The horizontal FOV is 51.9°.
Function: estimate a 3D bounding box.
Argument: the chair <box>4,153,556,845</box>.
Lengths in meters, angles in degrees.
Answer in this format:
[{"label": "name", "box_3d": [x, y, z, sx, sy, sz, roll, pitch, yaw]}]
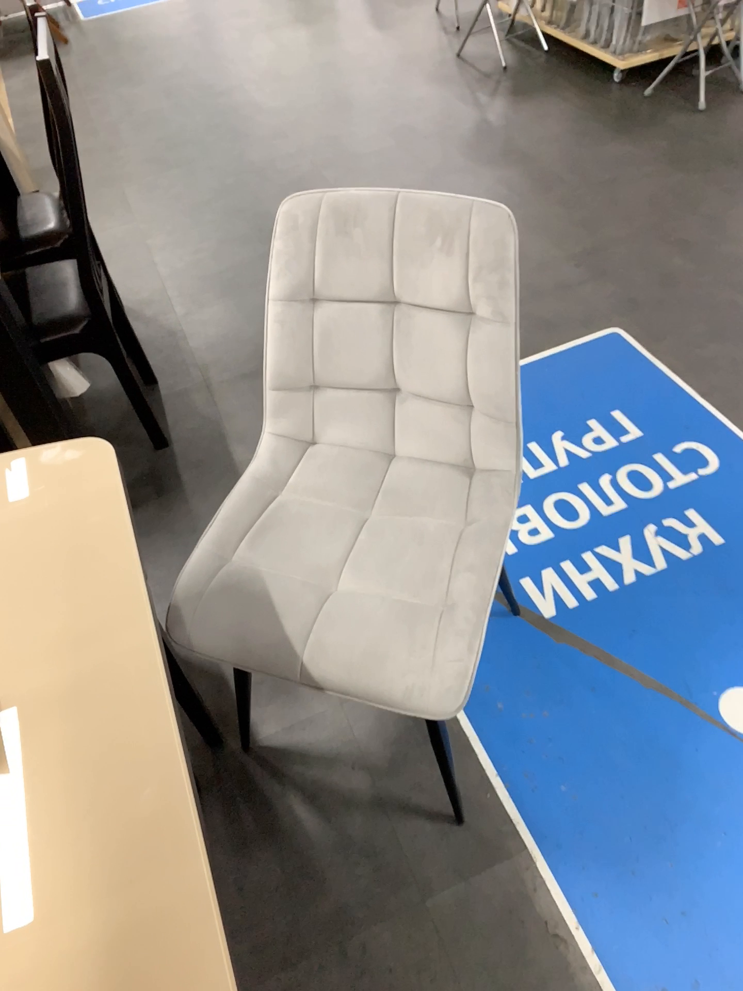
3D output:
[{"label": "chair", "box_3d": [-0.016, 0.049, 1.299, 0.480, 0.975, 0.602, 11, 50, 19]}]
